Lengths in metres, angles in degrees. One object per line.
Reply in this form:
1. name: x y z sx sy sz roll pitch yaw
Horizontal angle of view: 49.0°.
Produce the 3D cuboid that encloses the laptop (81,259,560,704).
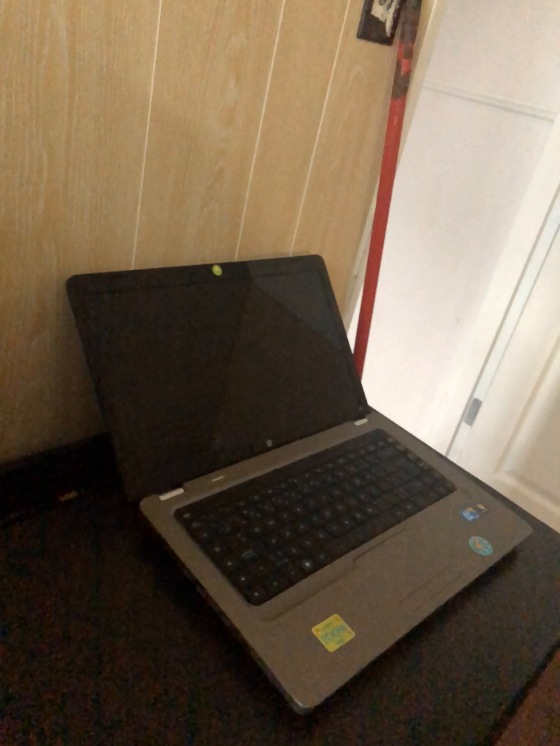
1. laptop: 0.048 0.046 0.664 0.357 0.166 0.403 -15 40 -41
